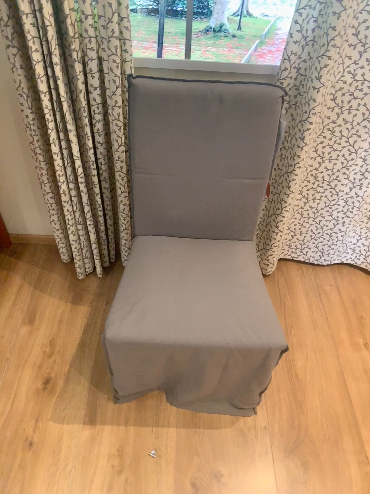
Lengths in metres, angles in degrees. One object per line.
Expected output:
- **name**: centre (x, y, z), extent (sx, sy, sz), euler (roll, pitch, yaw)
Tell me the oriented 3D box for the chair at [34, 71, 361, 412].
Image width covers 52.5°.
- **chair**: centre (0.011, 0.032, 1.173), extent (0.570, 0.877, 0.592), euler (3, 45, -1)
